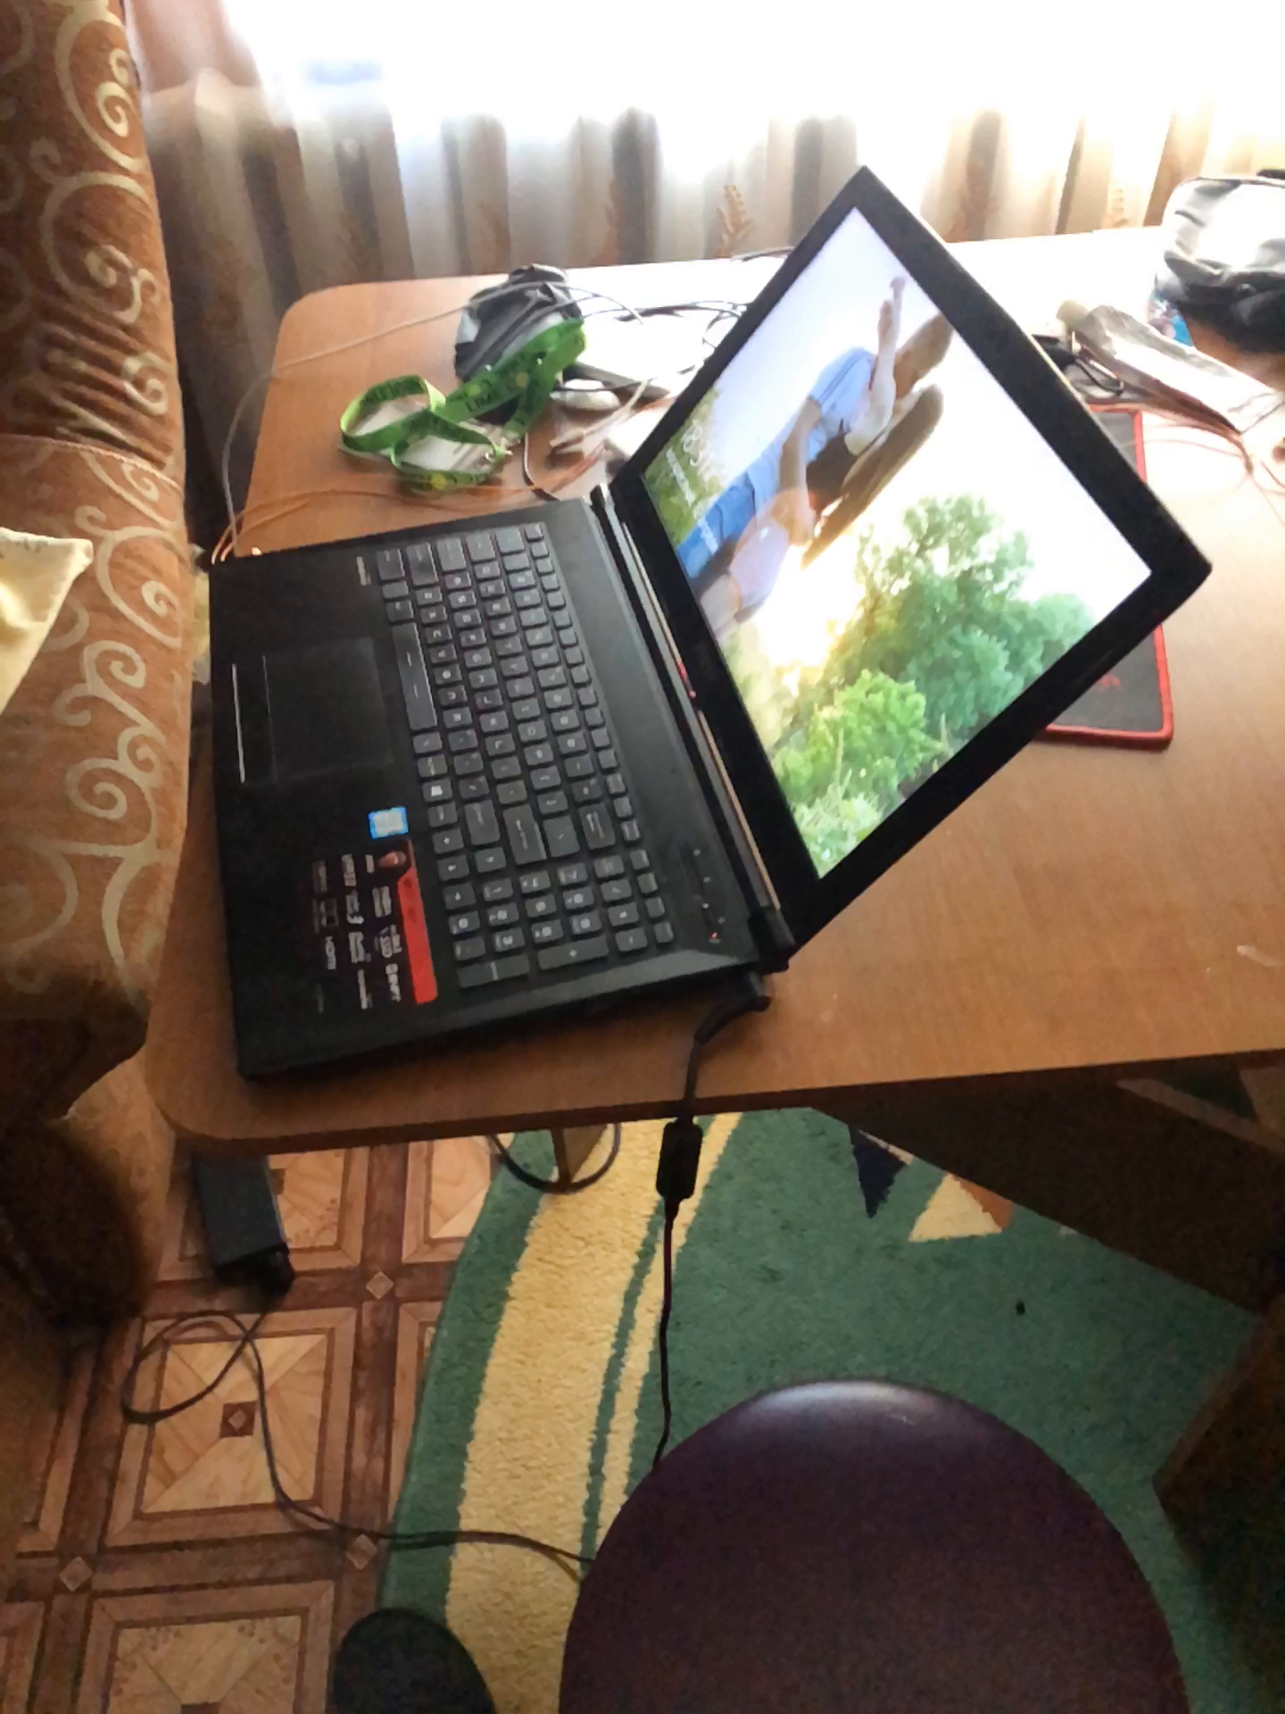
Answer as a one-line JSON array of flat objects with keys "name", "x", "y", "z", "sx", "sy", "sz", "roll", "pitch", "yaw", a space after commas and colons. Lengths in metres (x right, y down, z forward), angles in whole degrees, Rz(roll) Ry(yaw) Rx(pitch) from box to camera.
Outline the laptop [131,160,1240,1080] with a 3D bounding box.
[{"name": "laptop", "x": -0.017, "y": -0.143, "z": 0.691, "sx": 0.409, "sy": 0.174, "sz": 0.375, "roll": -12, "pitch": 49, "yaw": -8}]
